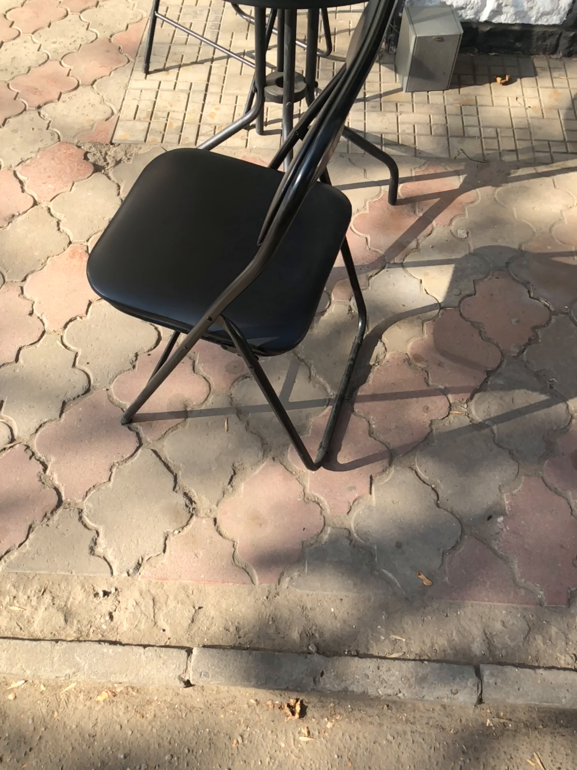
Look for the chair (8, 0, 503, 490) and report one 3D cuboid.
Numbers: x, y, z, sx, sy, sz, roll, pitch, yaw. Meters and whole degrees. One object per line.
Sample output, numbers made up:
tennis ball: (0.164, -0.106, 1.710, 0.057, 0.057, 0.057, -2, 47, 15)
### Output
chair: (-0.020, -0.317, 1.275, 0.570, 0.838, 0.581, 16, 54, 9)
